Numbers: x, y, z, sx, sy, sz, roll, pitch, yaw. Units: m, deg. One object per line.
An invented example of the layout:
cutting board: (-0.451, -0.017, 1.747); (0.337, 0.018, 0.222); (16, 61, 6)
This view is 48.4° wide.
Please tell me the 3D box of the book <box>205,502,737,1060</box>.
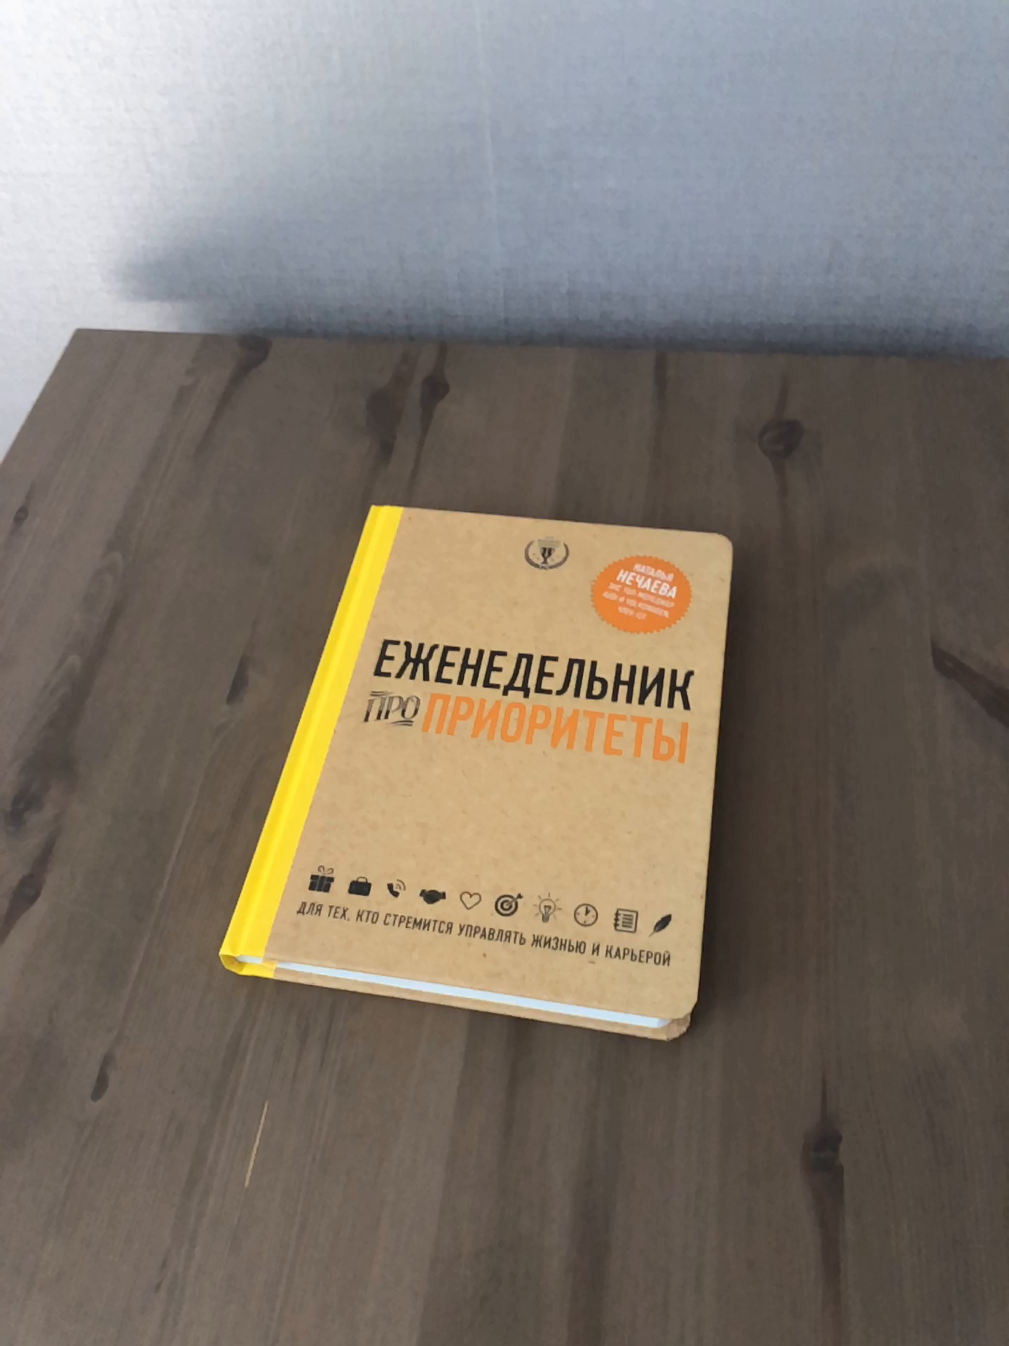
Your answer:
book: (-0.001, 0.030, 0.473); (0.180, 0.032, 0.230); (6, 56, 8)
